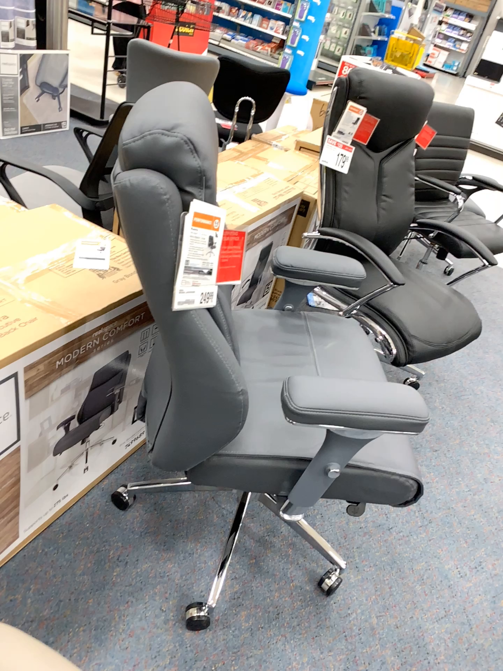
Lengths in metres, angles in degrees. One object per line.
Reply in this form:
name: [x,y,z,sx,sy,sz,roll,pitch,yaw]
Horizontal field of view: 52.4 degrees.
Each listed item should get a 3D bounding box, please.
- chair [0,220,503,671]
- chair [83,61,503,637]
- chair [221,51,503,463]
chair: [-0.432,0.607,0.326,0.714,0.976,0.788,28,36,16]
chair: [0.042,0.061,1.218,0.695,1.076,0.697,7,31,-14]
chair: [0.526,-0.300,1.909,0.767,1.095,0.786,-14,45,-37]
